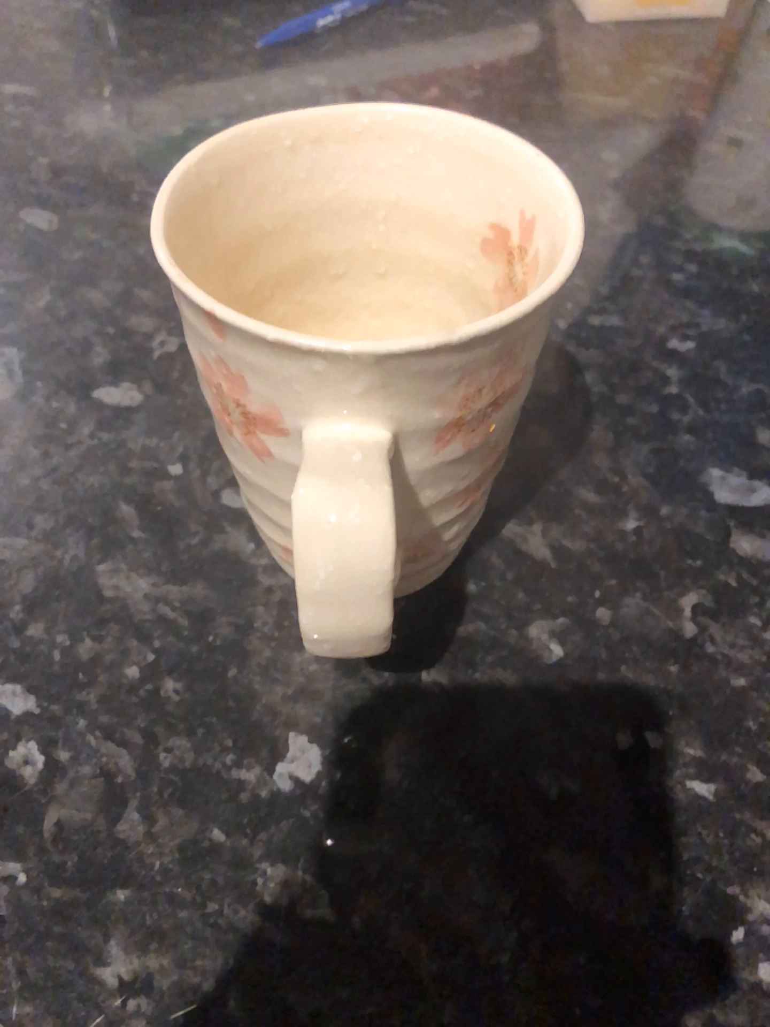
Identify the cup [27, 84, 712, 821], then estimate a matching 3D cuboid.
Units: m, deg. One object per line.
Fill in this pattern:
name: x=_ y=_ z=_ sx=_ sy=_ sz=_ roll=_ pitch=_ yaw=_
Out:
cup: x=-0.002 y=-0.015 z=0.193 sx=0.090 sy=0.099 sz=0.131 roll=1 pitch=51 yaw=-1
